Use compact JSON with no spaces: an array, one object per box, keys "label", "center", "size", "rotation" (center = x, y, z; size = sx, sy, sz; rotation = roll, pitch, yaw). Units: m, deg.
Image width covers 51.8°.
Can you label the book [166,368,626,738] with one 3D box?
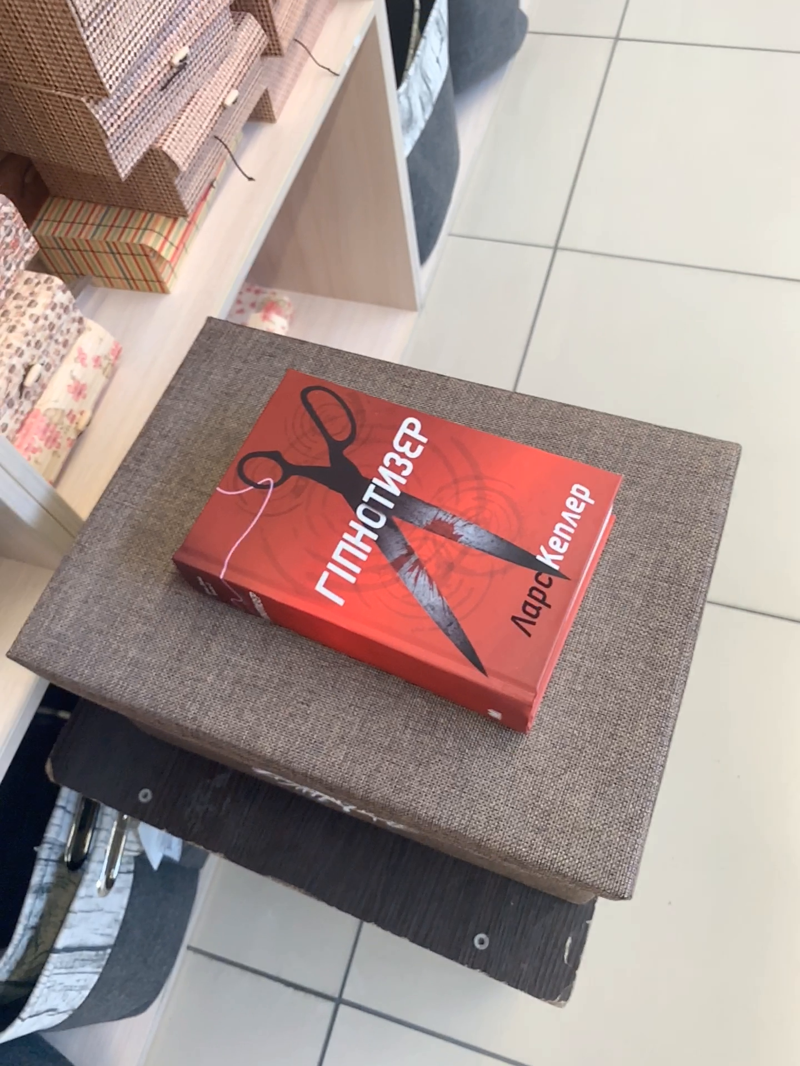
[{"label":"book","center":[0.000,0.004,0.435],"size":[0.195,0.050,0.132],"rotation":[19,67,15]}]
